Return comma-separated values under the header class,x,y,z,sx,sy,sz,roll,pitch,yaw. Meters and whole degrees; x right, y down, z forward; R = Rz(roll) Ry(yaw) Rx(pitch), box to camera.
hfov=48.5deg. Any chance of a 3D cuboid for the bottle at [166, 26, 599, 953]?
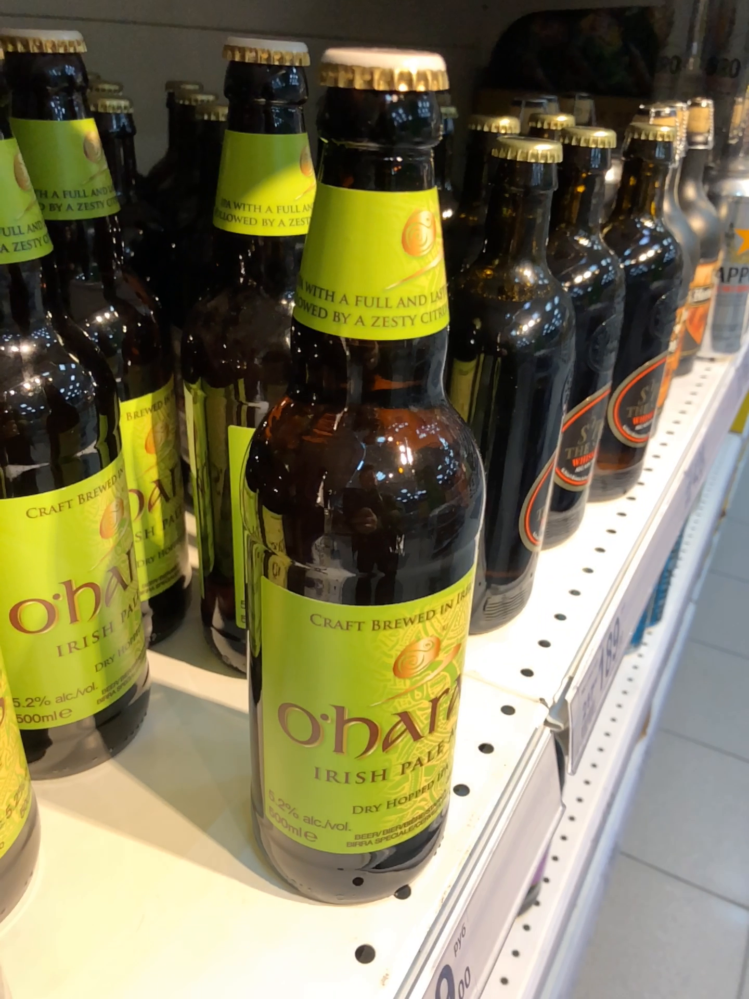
class,x,y,z,sx,sy,sz,roll,pitch,yaw
bottle,-0.007,0.008,0.242,0.070,0.250,0.070,2,28,-1
